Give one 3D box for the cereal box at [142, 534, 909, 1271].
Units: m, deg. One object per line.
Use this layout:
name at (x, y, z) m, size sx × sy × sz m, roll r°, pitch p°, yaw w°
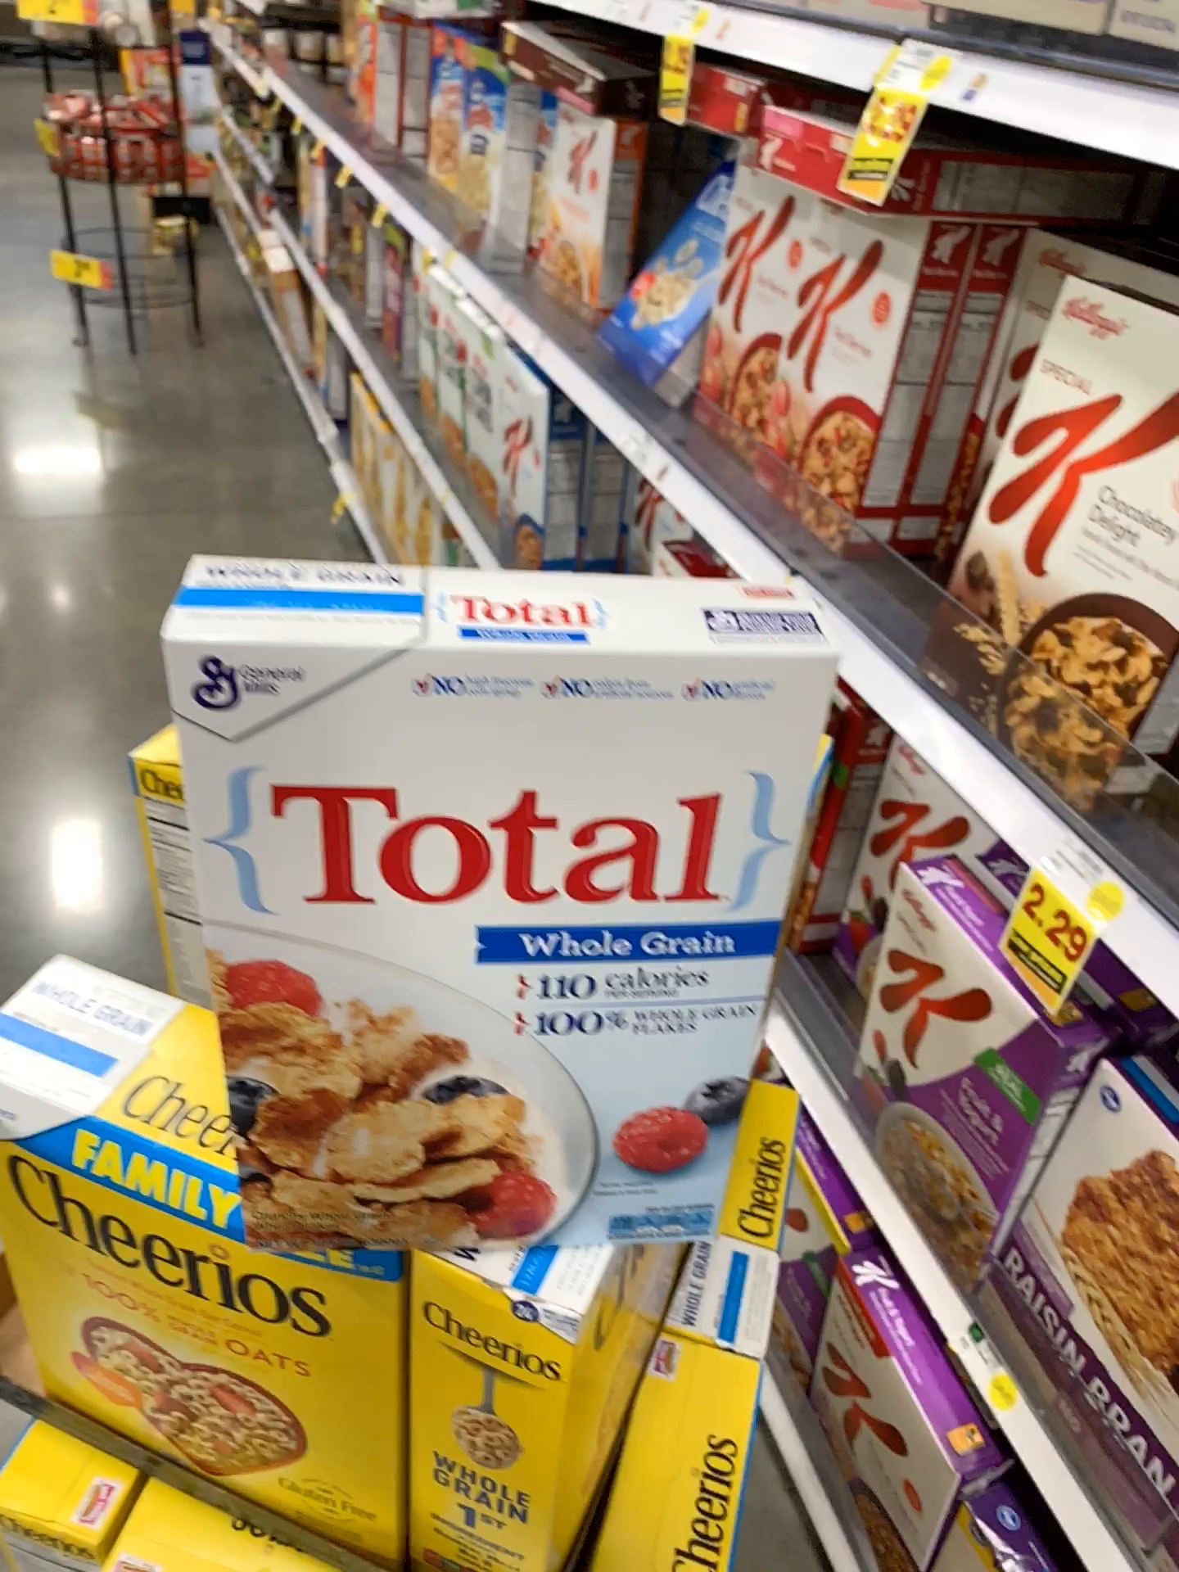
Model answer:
cereal box at (-0.027, 0.062, 0.439) m, size 0.210 × 0.298 × 0.050 m, roll 1°, pitch 35°, yaw -6°
